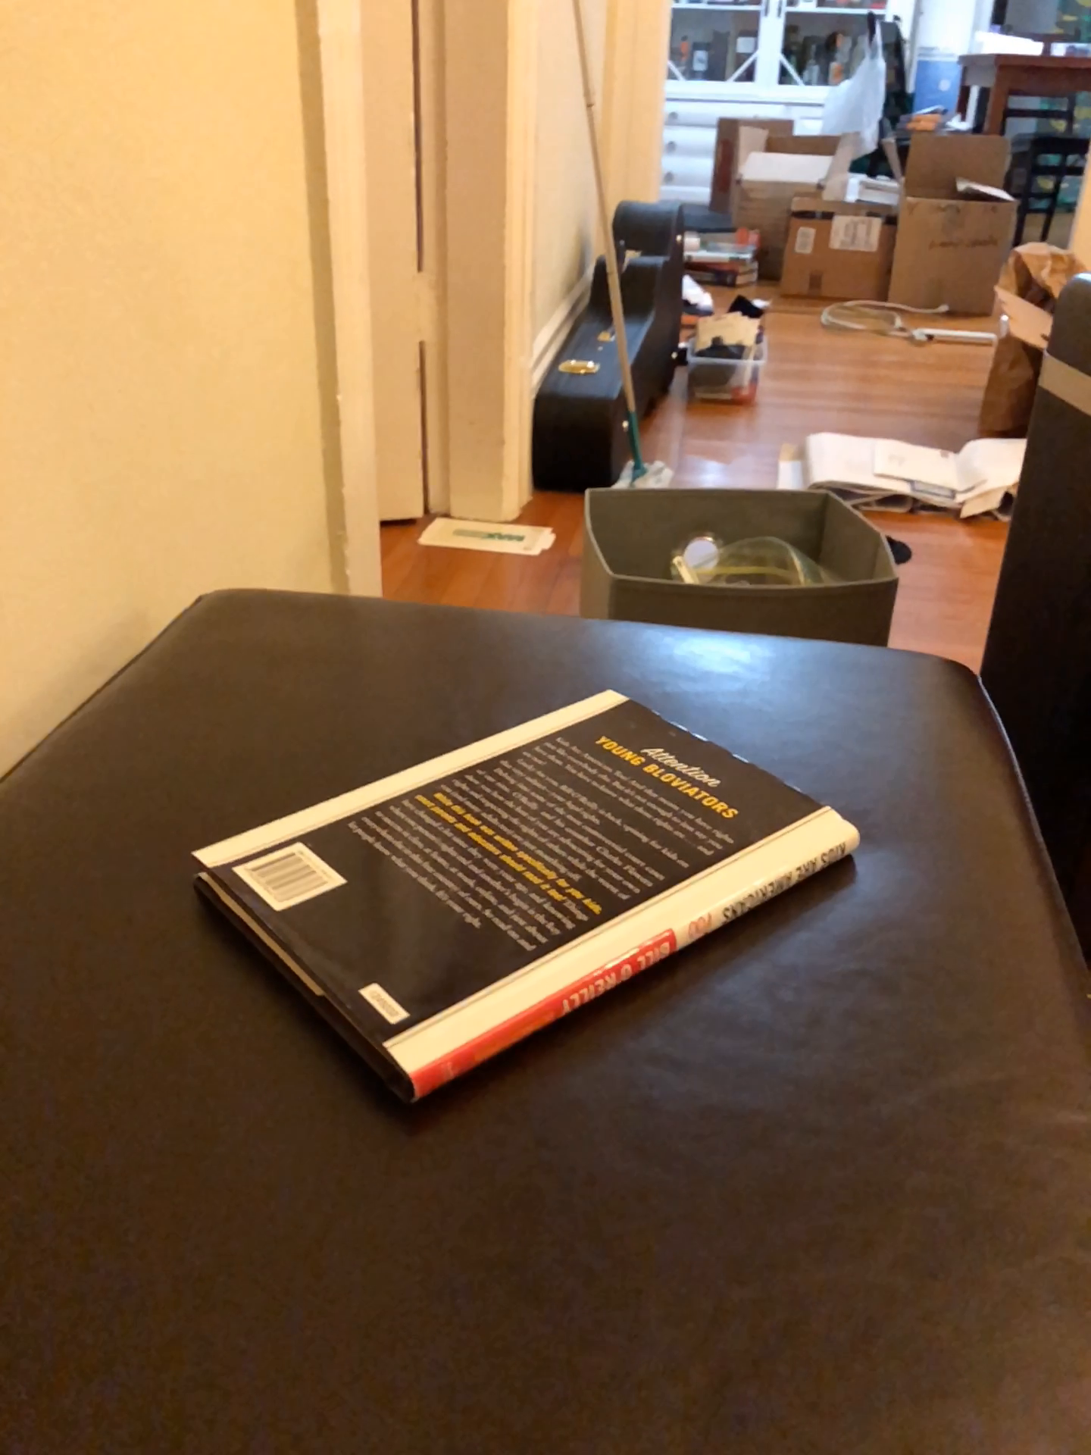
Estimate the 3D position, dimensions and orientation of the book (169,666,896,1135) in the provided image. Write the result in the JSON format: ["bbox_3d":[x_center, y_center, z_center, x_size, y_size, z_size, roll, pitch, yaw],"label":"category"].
[{"bbox_3d":[0.000,0.044,0.465,0.231,0.020,0.160,-22,37,-36],"label":"book"}]
